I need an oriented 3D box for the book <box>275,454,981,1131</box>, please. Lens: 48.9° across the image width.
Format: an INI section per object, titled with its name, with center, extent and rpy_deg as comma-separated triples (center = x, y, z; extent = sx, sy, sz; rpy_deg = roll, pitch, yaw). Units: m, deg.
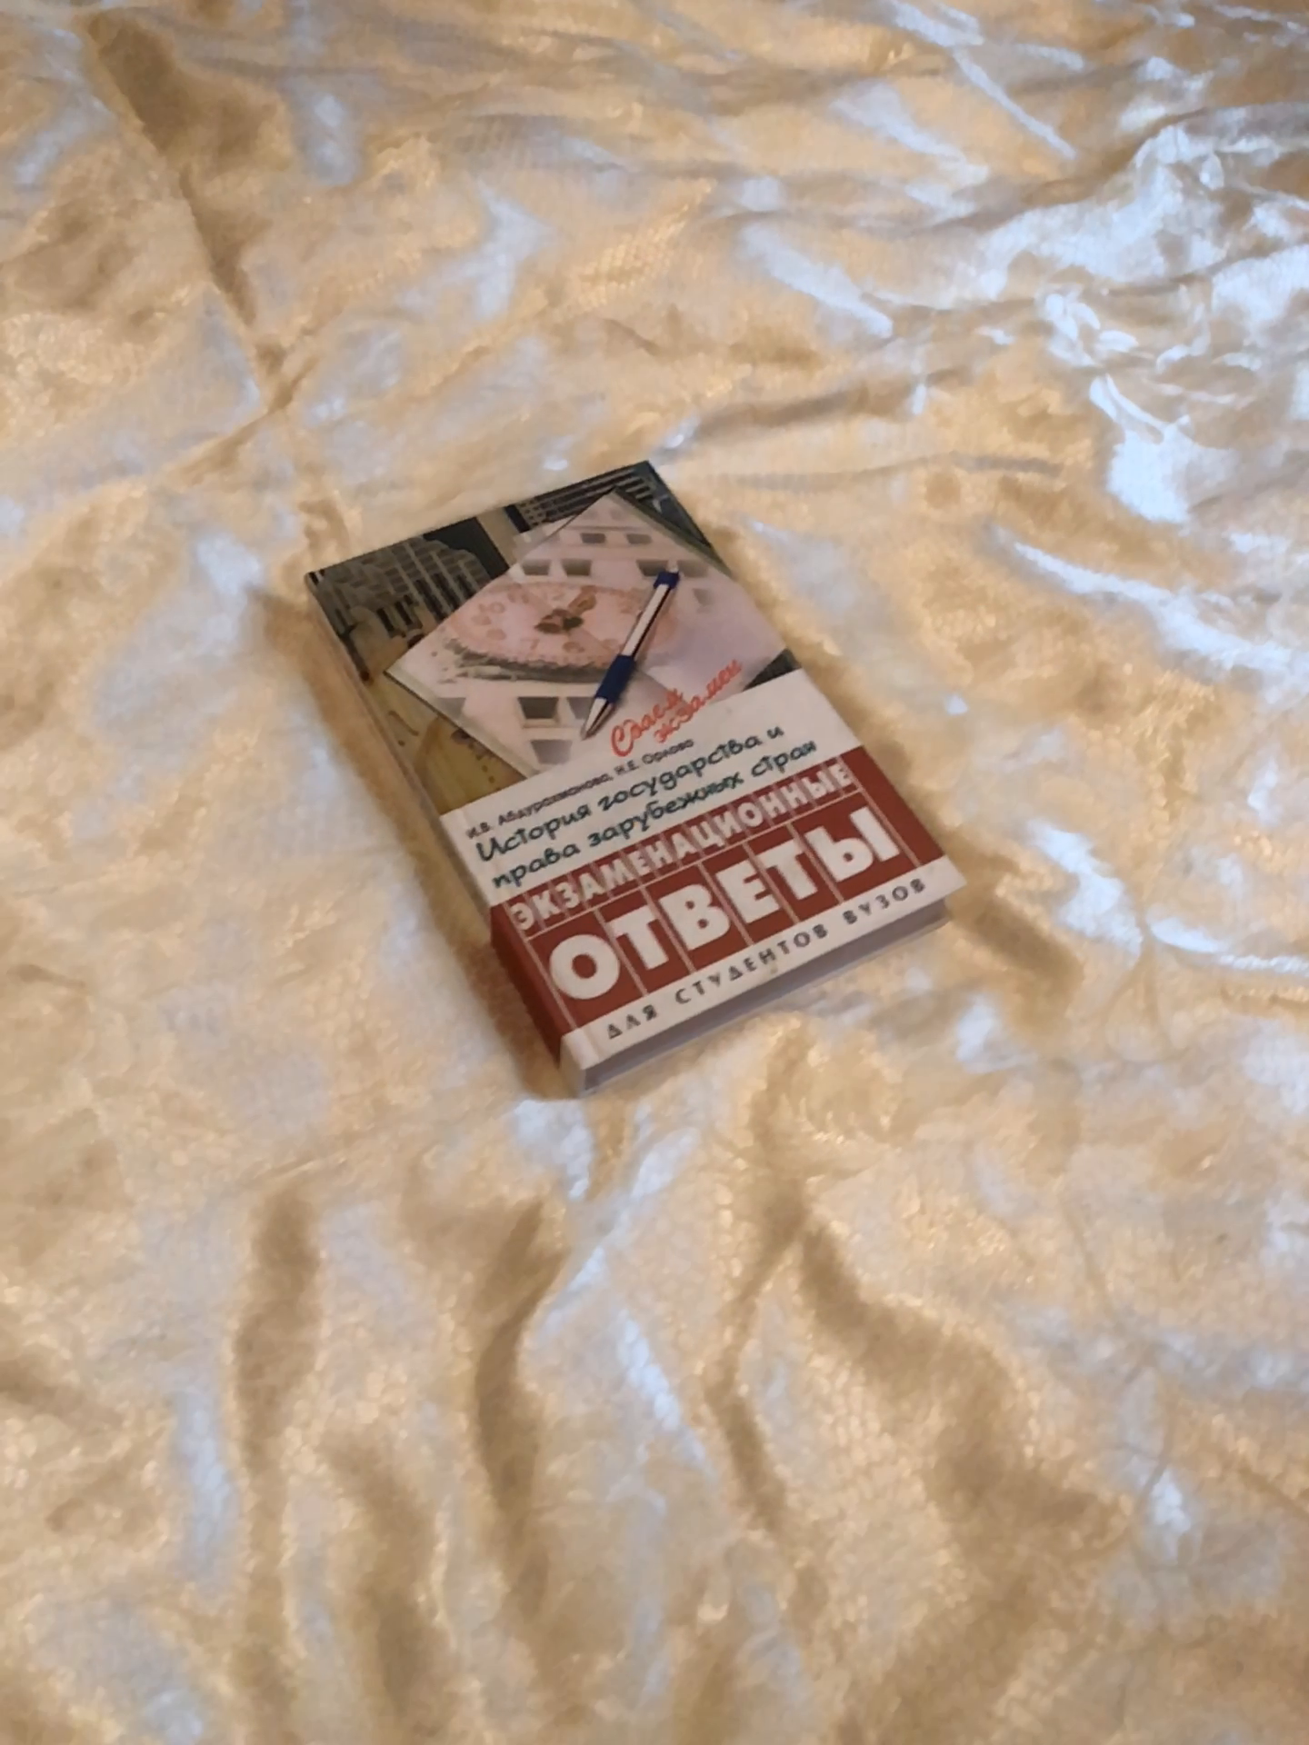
[book]
center = -0.016, -0.040, 0.480
extent = 0.150, 0.030, 0.211
rpy_deg = -23, 61, -16
